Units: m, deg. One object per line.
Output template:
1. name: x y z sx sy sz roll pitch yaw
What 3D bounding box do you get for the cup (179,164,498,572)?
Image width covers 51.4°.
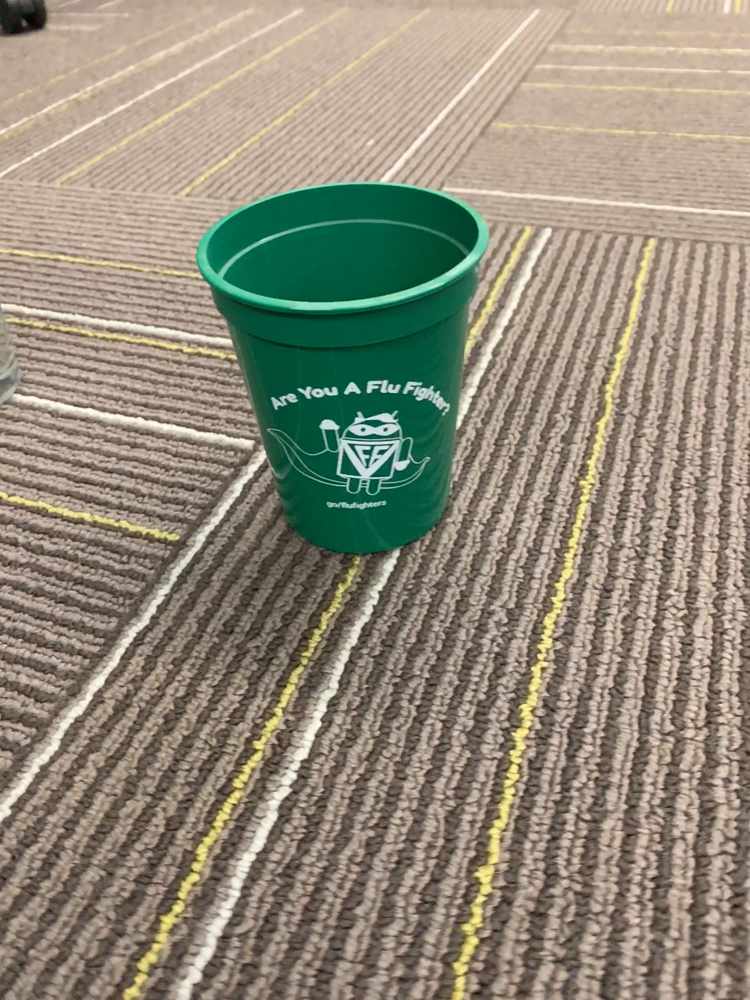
1. cup: -0.007 -0.046 0.289 0.090 0.119 0.080 -3 42 2
